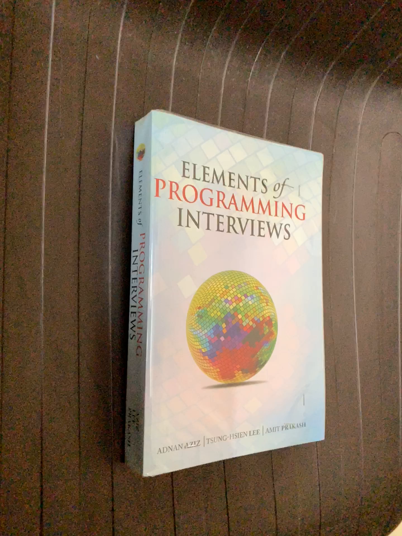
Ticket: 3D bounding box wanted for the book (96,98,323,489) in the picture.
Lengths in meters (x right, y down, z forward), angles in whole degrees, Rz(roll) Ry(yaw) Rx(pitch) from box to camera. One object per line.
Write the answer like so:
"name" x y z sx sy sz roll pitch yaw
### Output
"book" 0.014 0.017 0.309 0.161 0.050 0.230 4 84 -31
